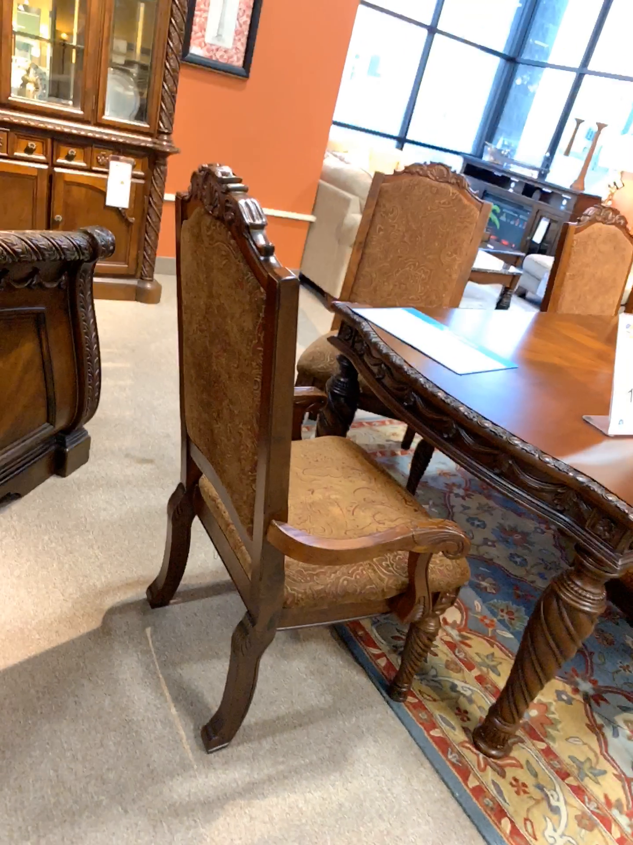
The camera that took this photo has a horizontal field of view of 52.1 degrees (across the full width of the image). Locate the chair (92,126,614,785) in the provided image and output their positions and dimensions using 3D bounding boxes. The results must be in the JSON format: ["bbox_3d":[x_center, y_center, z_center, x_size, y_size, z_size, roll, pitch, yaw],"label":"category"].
[{"bbox_3d":[-0.034,0.069,1.421,0.670,1.123,0.585,-2,31,-32],"label":"chair"}]

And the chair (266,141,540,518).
[{"bbox_3d":[0.305,-0.380,2.515,0.603,1.183,0.672,18,26,5],"label":"chair"}]

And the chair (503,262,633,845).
[{"bbox_3d":[1.054,0.304,1.519,0.564,1.133,0.621,-2,31,-31],"label":"chair"}]
